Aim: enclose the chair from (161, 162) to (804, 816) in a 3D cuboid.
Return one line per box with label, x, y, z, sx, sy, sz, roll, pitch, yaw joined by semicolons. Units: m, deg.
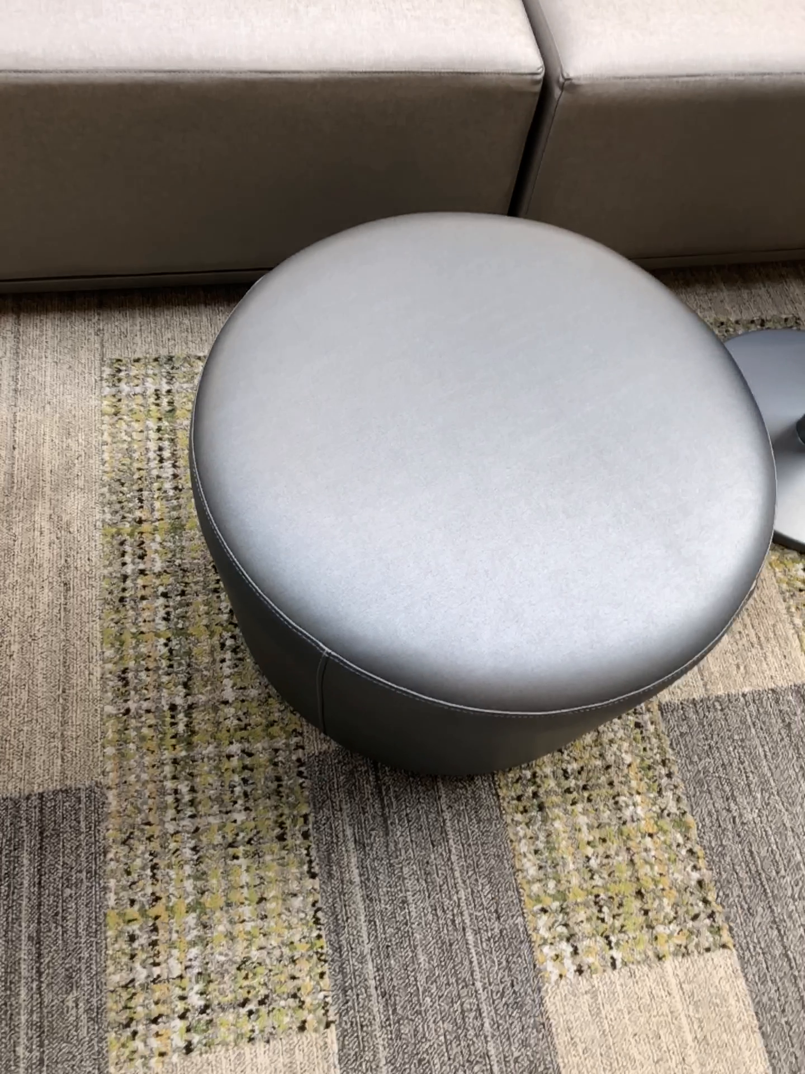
chair;0.076;-0.039;1.031;0.620;0.459;0.571;-2;62;-8
